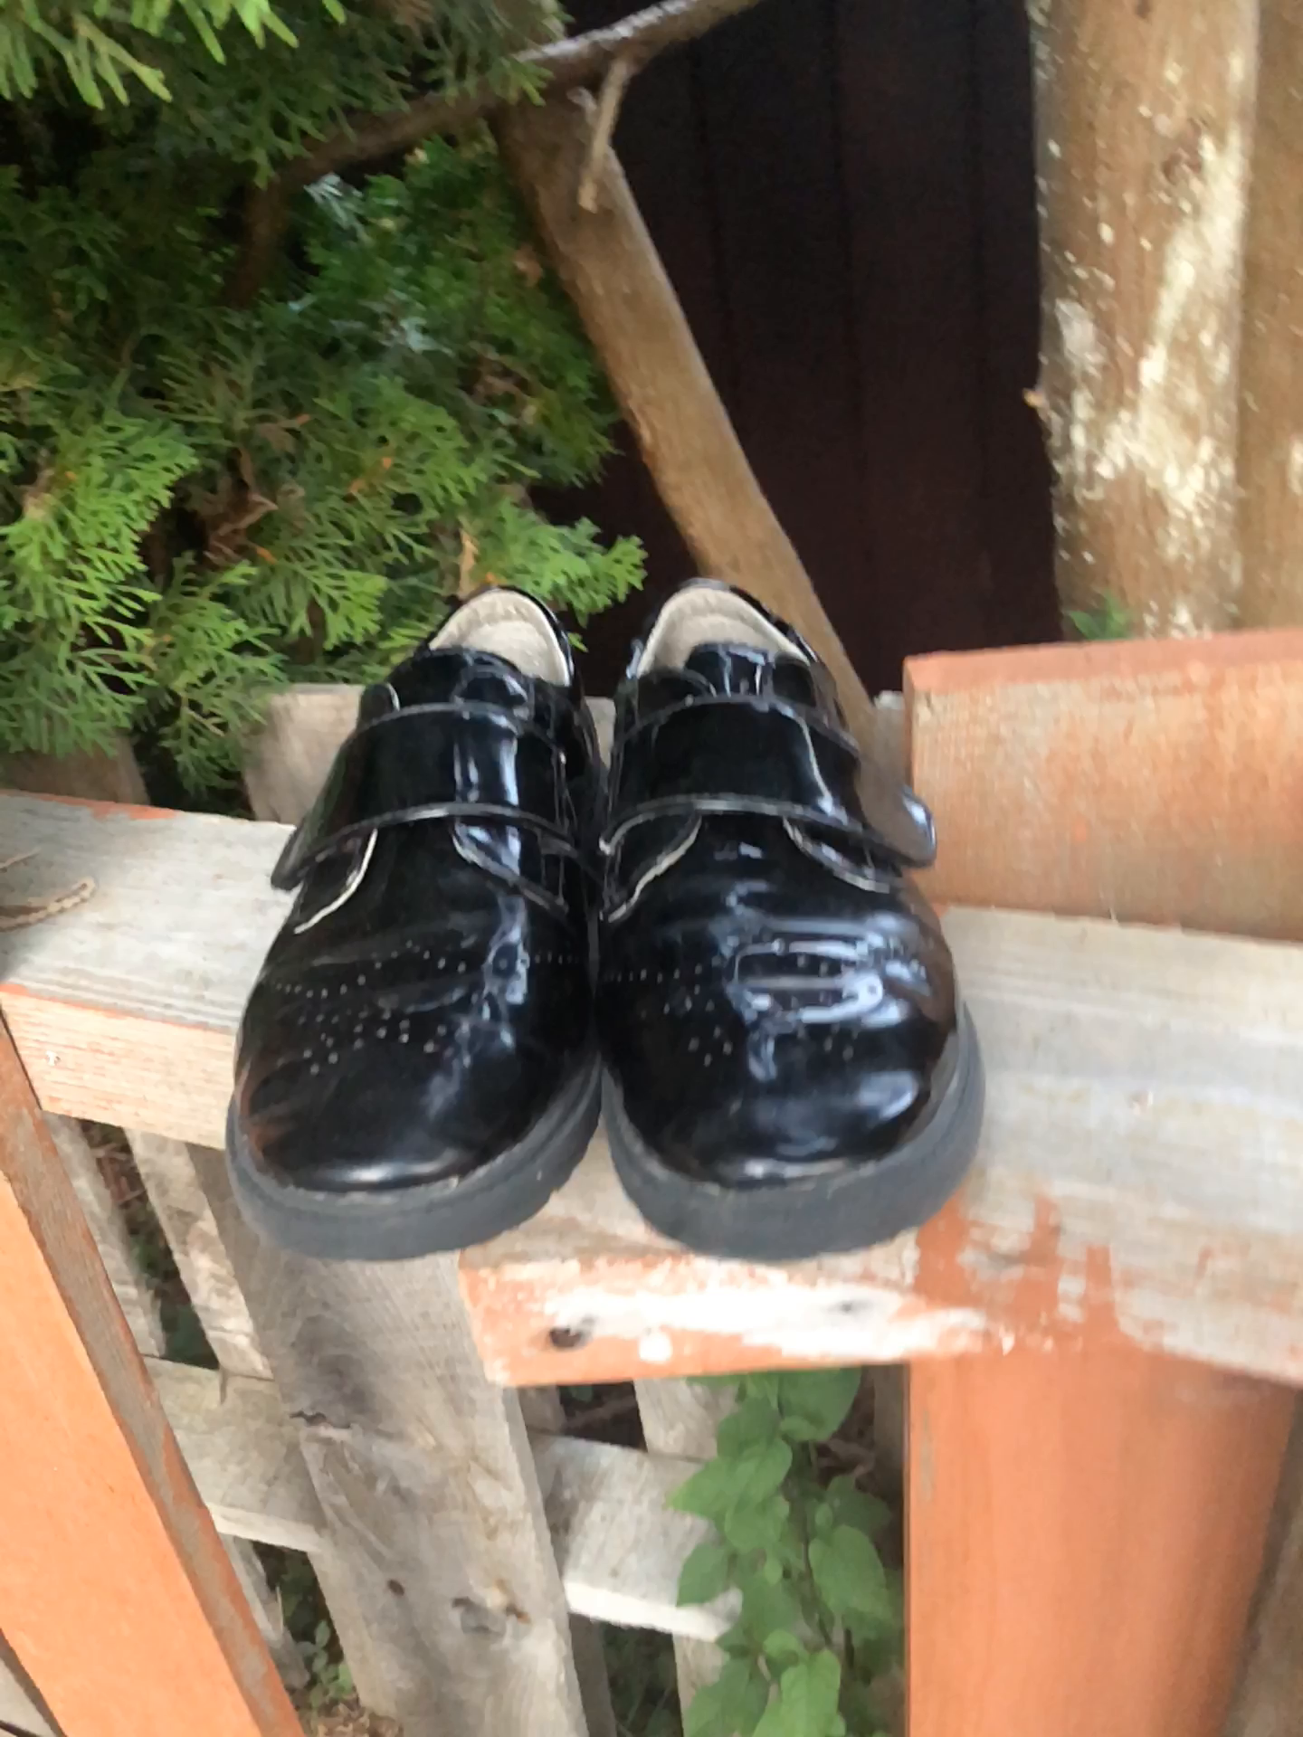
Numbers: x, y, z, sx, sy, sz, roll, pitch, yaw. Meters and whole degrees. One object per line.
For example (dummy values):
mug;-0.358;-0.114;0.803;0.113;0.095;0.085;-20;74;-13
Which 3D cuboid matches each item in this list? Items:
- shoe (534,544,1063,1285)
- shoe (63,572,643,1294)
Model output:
shoe;0.025;-0.010;0.362;0.090;0.070;0.232;-5;29;1
shoe;-0.056;-0.004;0.382;0.090;0.070;0.242;-3;29;4
